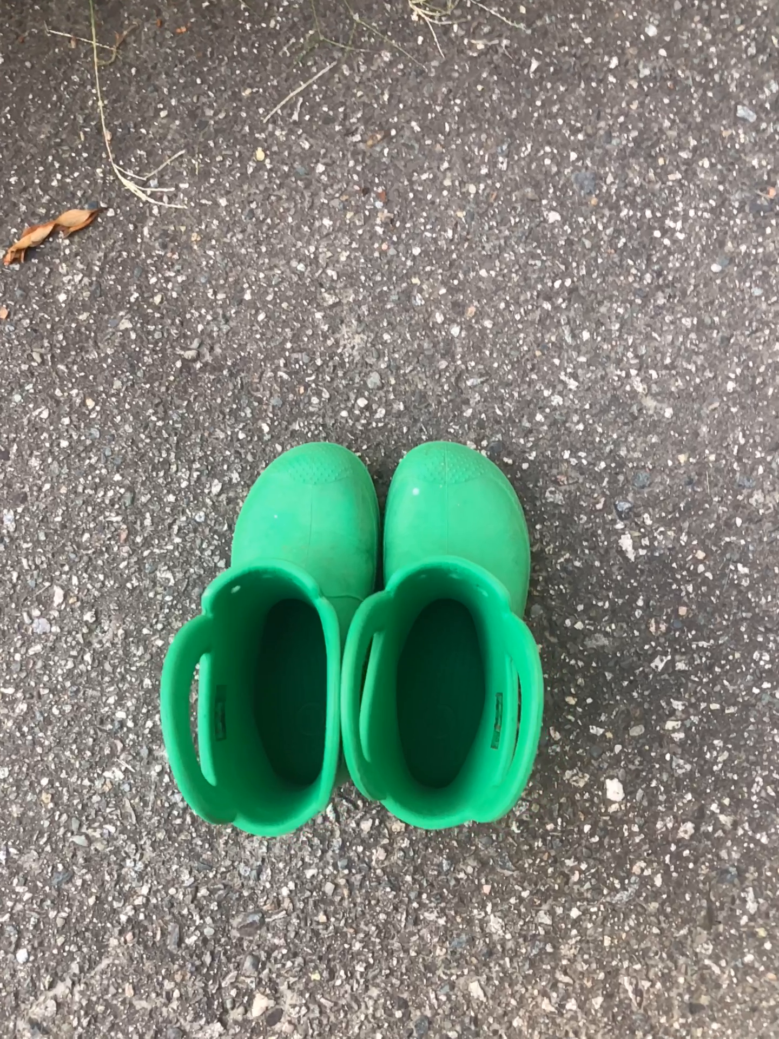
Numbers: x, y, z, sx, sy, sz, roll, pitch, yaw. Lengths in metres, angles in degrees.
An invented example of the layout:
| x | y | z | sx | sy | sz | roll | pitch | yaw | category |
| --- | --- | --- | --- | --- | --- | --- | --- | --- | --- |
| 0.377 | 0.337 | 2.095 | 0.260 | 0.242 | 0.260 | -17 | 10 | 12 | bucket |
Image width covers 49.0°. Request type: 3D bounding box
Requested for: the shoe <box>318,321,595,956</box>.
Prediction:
| x | y | z | sx | sy | sz | roll | pitch | yaw | category |
| --- | --- | --- | --- | --- | --- | --- | --- | --- | --- |
| 0.032 | 0.056 | 0.485 | 0.110 | 0.260 | 0.260 | -1 | 85 | 3 | shoe |

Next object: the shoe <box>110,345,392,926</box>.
| x | y | z | sx | sy | sz | roll | pitch | yaw | category |
| --- | --- | --- | --- | --- | --- | --- | --- | --- | --- |
| -0.061 | 0.057 | 0.488 | 0.110 | 0.230 | 0.250 | -1 | 85 | 3 | shoe |
